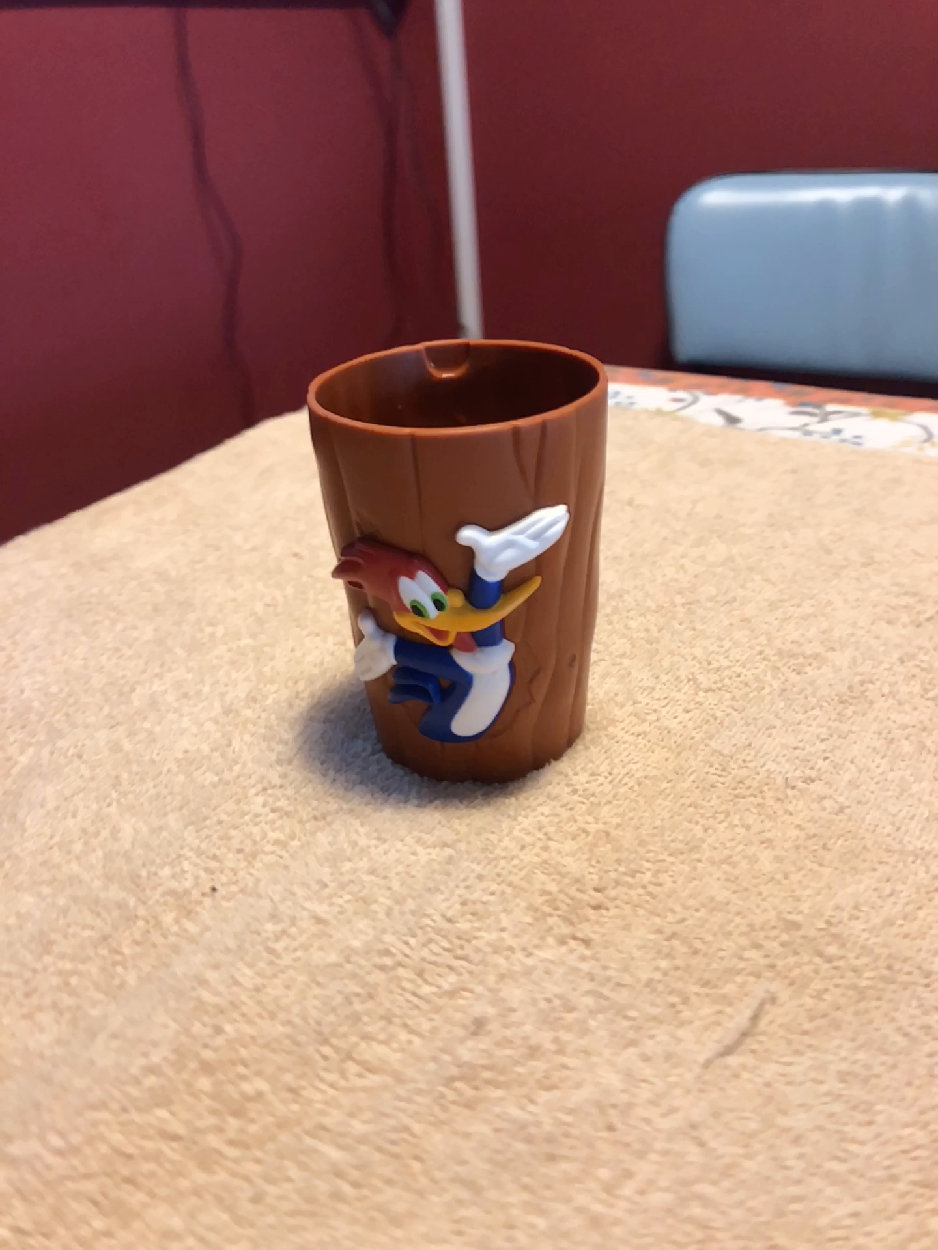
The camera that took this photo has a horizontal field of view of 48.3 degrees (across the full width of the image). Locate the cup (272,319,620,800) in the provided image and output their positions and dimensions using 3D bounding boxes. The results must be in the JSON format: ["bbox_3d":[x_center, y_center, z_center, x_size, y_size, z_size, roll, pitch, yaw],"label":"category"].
[{"bbox_3d":[0.001,-0.021,0.303,0.080,0.109,0.091,-1,28,6],"label":"cup"}]
